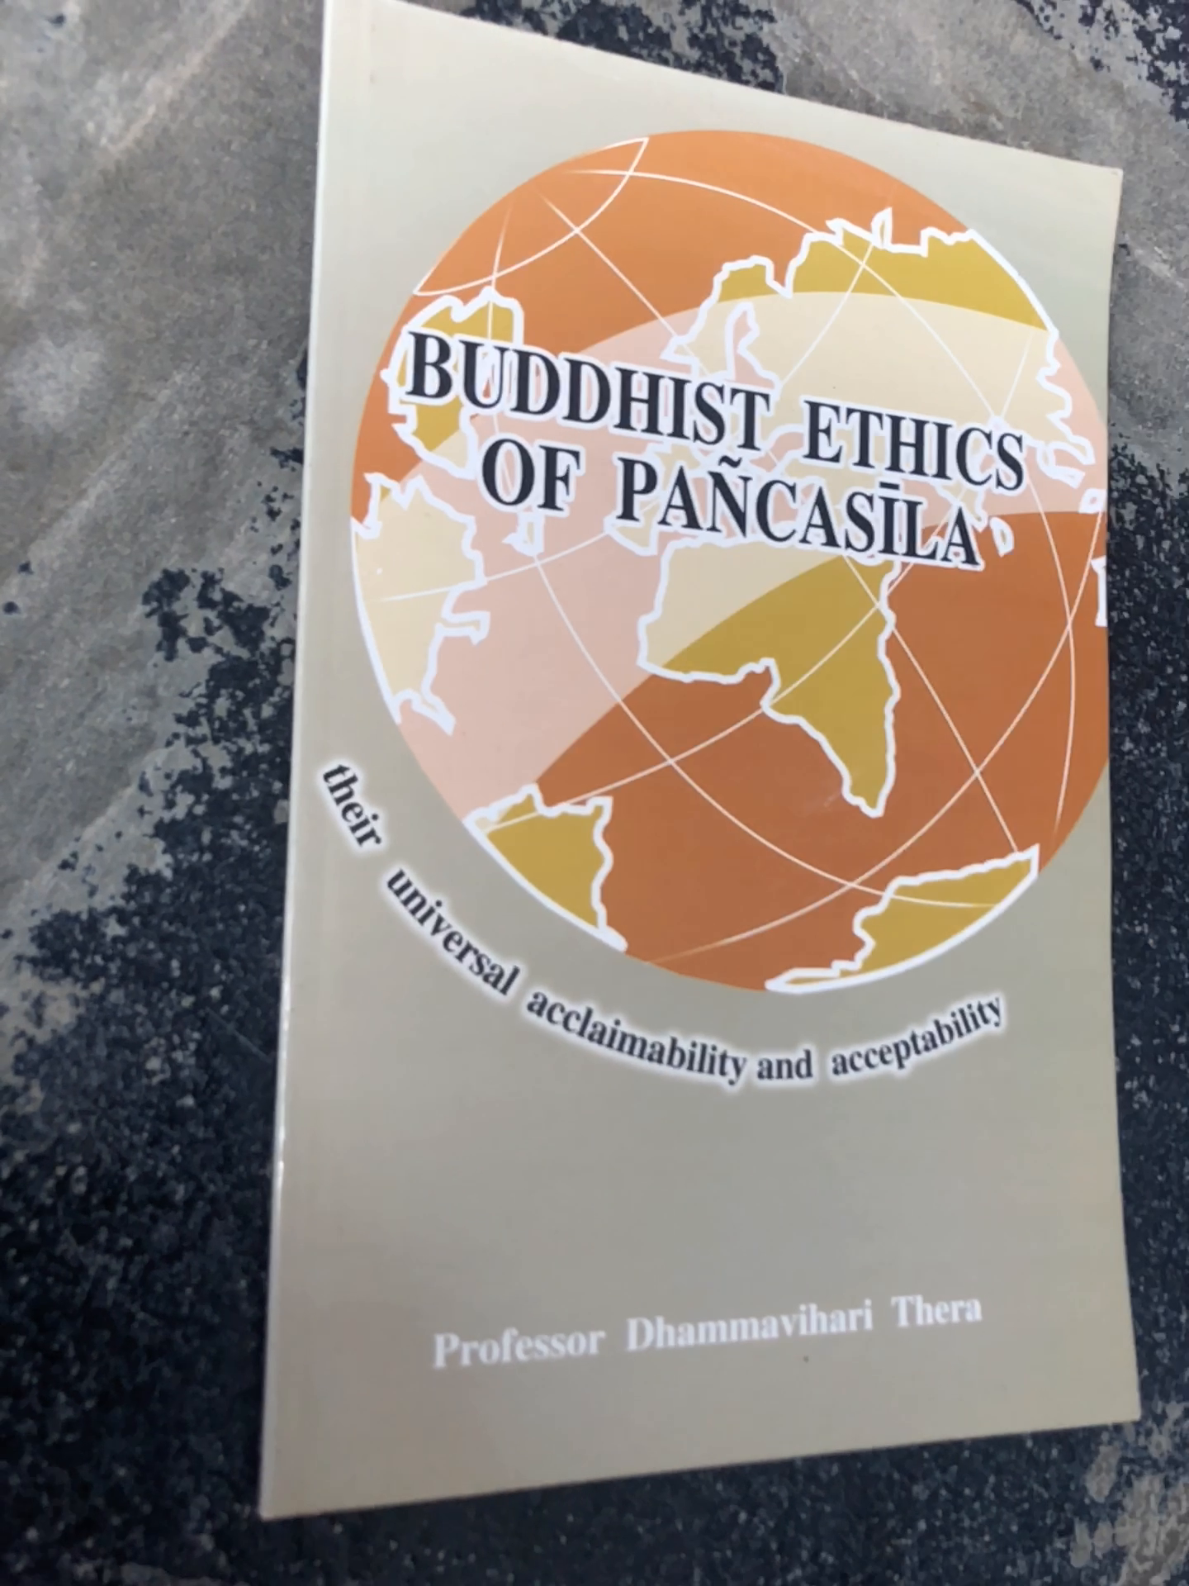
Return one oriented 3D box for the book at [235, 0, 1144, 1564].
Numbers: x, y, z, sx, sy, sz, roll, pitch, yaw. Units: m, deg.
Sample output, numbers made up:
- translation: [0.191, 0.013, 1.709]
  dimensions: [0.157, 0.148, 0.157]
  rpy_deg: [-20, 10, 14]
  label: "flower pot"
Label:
- translation: [0.021, -0.011, 0.203]
  dimensions: [0.140, 0.010, 0.220]
  rpy_deg: [2, 84, -20]
  label: "book"
